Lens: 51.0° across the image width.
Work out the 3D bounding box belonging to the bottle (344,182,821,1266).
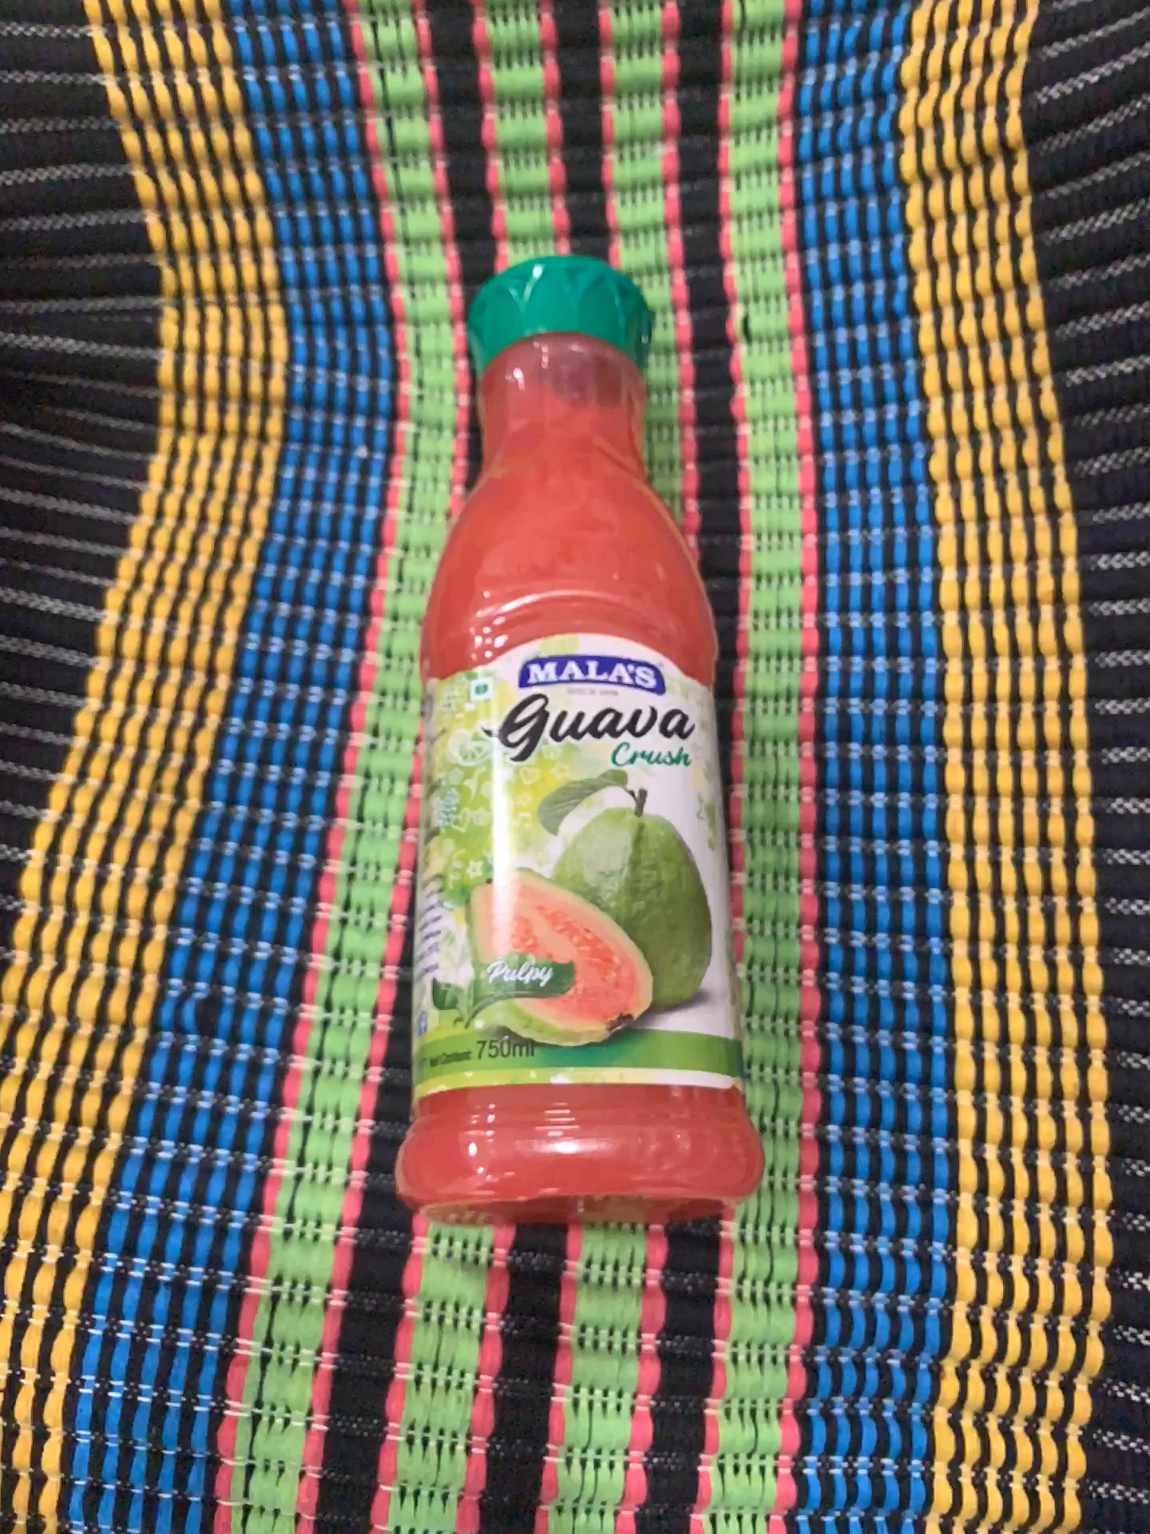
[{"bbox_3d":[-0.007,-0.023,0.298,0.080,0.080,0.260,0,61,-5],"label":"bottle"}]
